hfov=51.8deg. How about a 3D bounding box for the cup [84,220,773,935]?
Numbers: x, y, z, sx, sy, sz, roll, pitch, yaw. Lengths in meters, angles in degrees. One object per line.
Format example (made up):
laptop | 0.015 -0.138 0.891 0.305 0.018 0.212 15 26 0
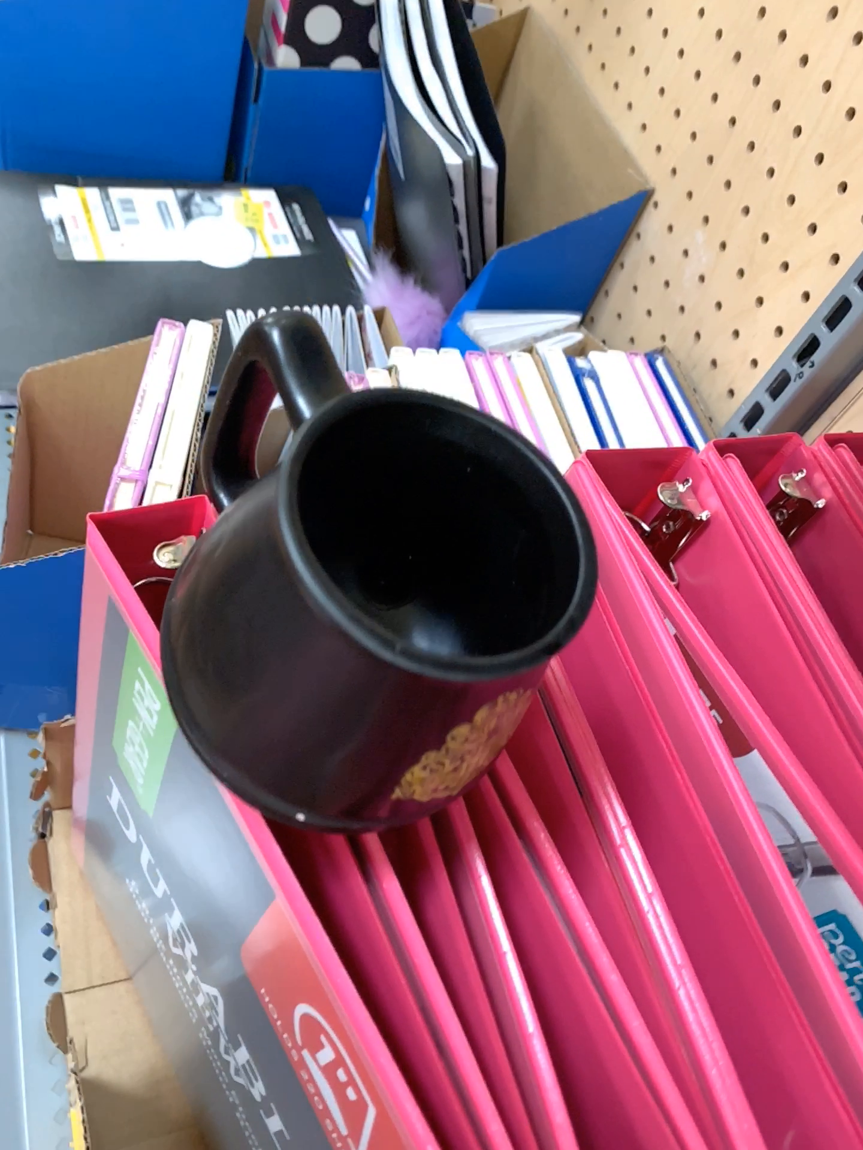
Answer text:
cup | -0.013 -0.003 0.218 0.097 0.093 0.122 -21 67 -31
